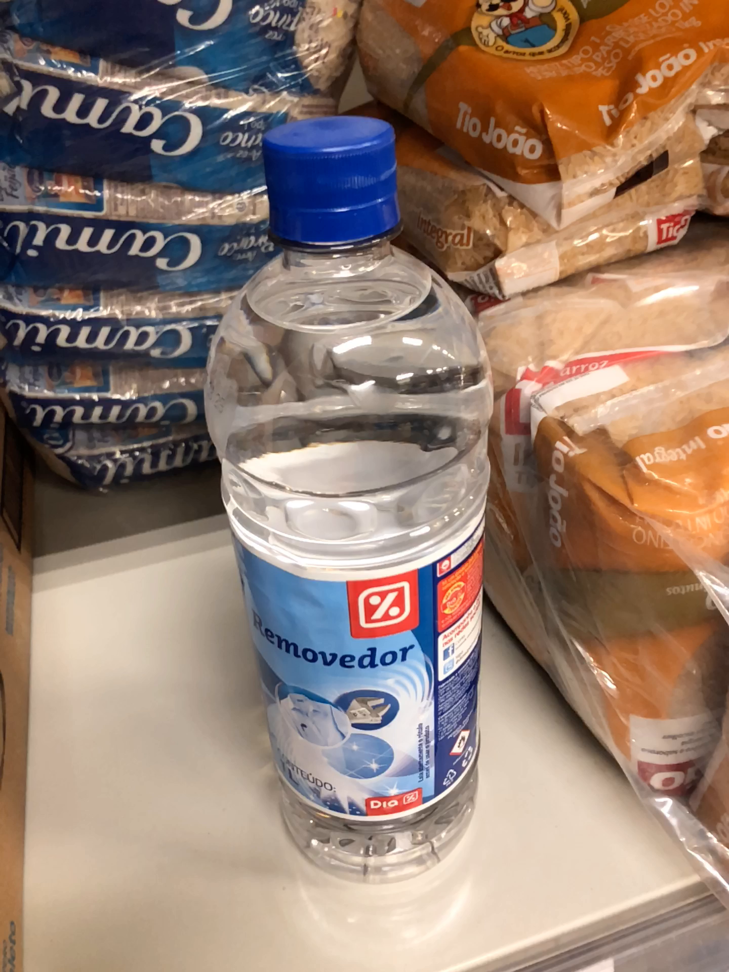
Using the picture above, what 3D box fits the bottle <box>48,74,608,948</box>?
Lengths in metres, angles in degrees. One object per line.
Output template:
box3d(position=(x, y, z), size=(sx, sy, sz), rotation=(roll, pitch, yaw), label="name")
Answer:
box3d(position=(0.001, 0.026, 0.255), size=(0.080, 0.258, 0.090), rotation=(29, 50, 35), label="bottle")
